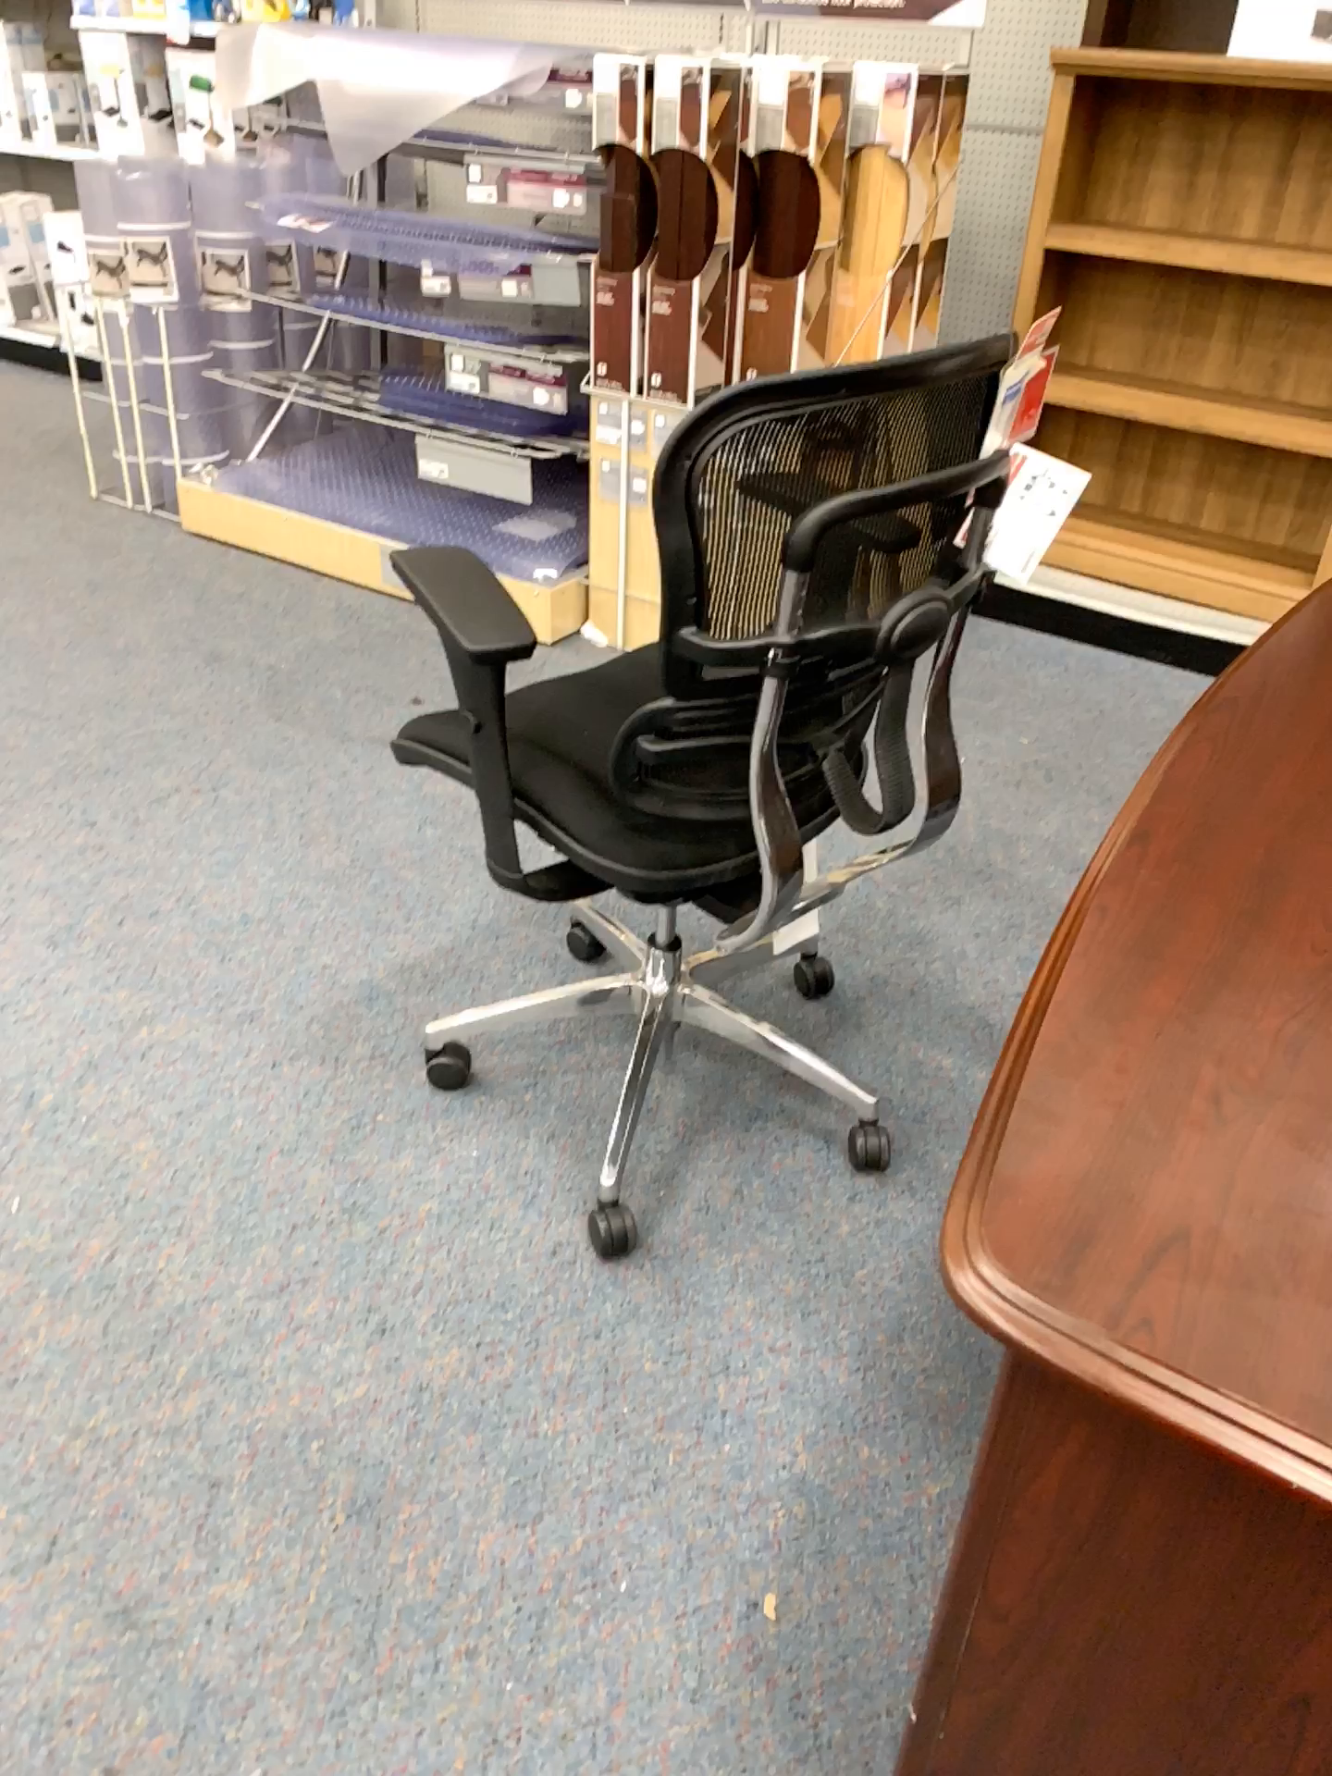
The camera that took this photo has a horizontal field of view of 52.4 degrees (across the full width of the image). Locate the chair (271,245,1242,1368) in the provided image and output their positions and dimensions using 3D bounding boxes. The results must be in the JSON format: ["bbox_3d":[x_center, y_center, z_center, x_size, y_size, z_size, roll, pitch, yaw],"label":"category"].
[{"bbox_3d":[0.081,-0.160,1.616,0.686,0.983,0.699,28,40,34],"label":"chair"}]
